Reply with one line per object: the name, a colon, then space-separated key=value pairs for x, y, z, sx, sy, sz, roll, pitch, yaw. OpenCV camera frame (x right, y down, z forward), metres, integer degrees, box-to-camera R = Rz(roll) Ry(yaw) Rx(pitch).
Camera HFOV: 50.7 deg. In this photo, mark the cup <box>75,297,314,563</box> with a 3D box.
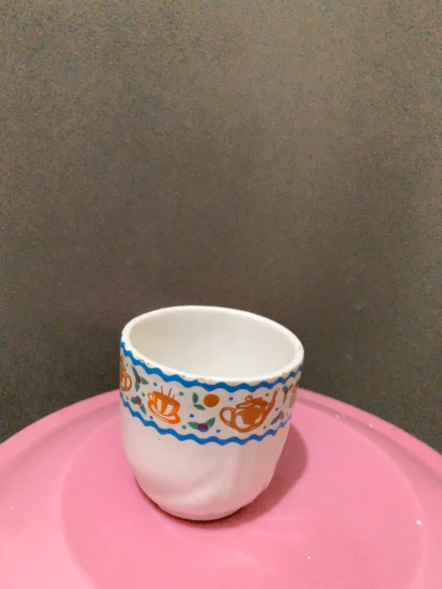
cup: x=-0.006 y=0.043 z=0.183 sx=0.070 sy=0.060 sz=0.070 roll=5 pitch=14 yaw=-1
